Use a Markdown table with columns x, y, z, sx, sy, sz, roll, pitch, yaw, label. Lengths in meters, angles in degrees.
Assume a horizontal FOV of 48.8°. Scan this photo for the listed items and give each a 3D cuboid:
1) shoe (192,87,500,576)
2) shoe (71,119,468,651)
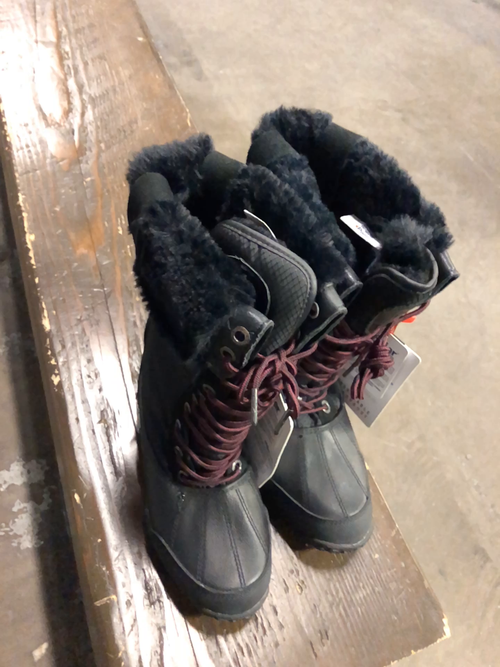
| x | y | z | sx | sy | sz | roll | pitch | yaw | label |
| --- | --- | --- | --- | --- | --- | --- | --- | --- | --- |
| 0.060 | 0.009 | 0.401 | 0.100 | 0.258 | 0.231 | -15 | 58 | -23 | shoe |
| -0.027 | 0.046 | 0.356 | 0.100 | 0.258 | 0.221 | -15 | 58 | -23 | shoe |
